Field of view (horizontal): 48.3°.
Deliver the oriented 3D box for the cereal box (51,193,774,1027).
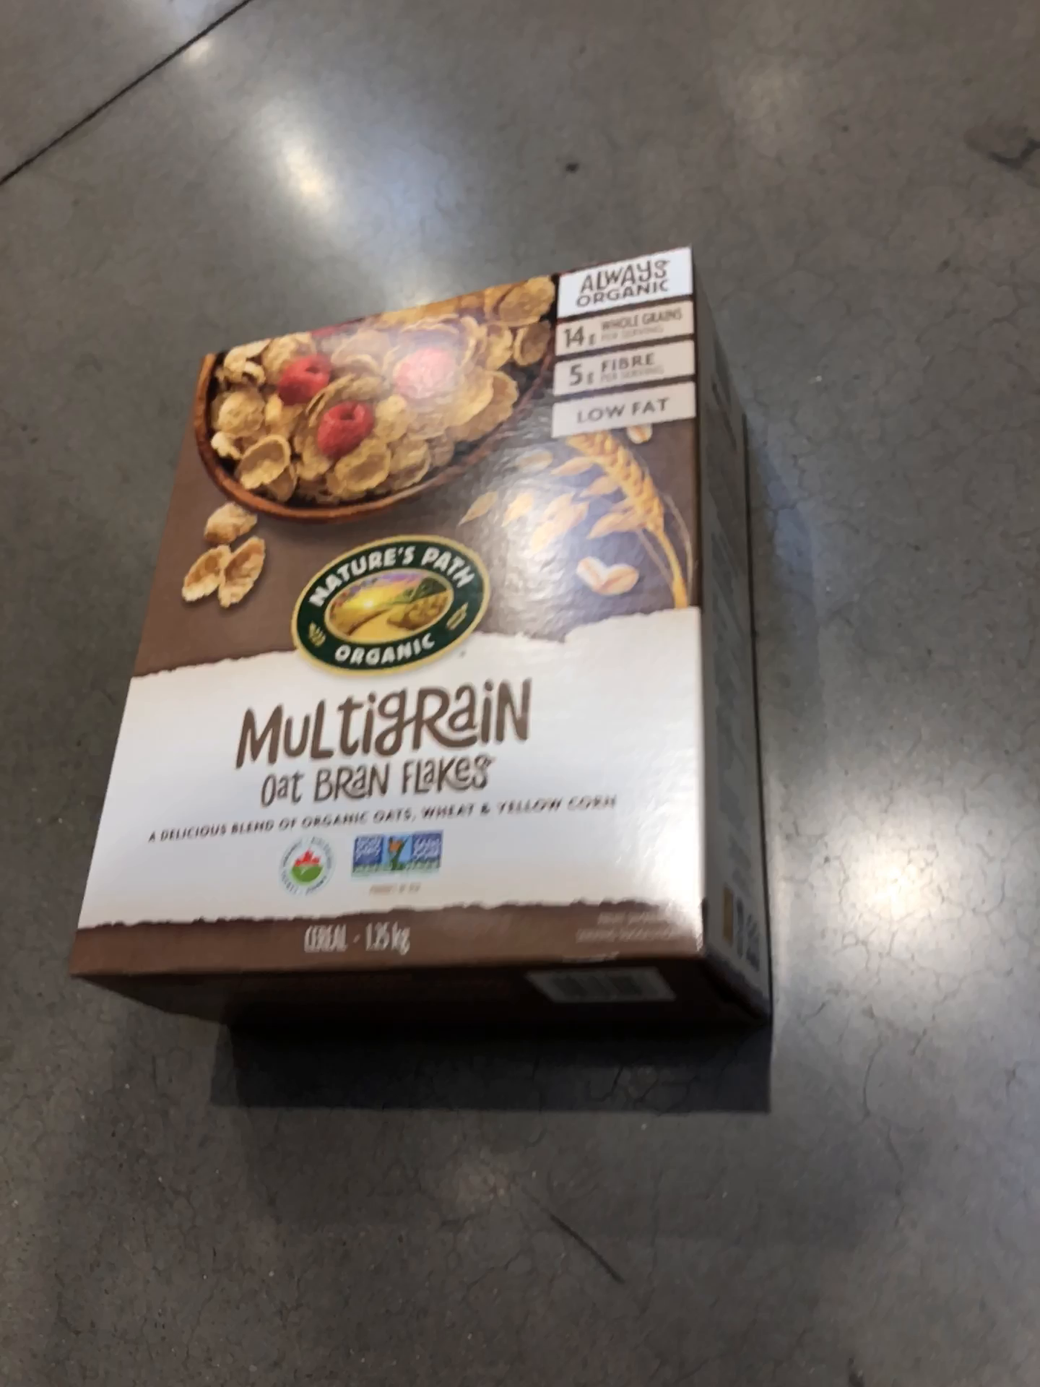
[{"bbox_3d":[-0.032,-0.031,0.494,0.241,0.110,0.310,-8,61,18],"label":"cereal box"}]
